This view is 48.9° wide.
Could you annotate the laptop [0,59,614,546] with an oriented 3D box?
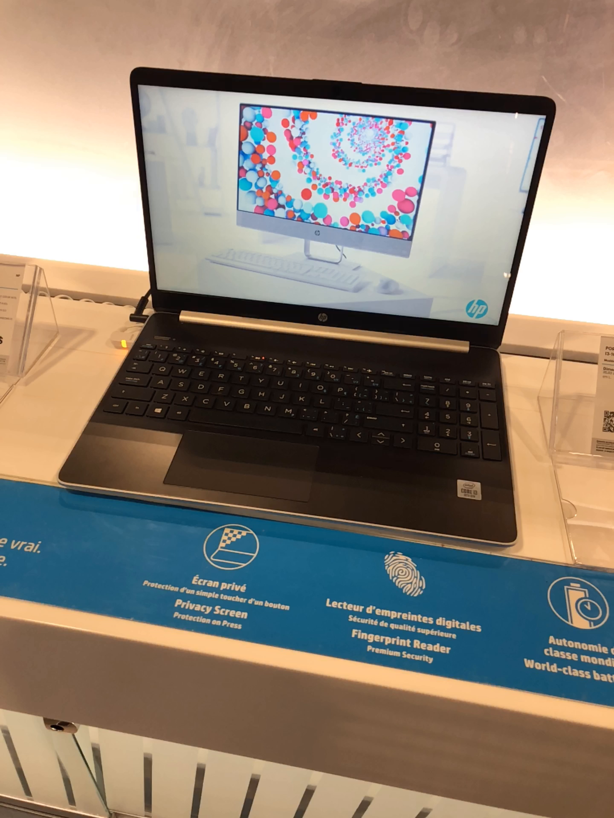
[{"bbox_3d":[0.002,-0.102,0.533,0.355,0.221,0.284,7,43,6],"label":"laptop"}]
